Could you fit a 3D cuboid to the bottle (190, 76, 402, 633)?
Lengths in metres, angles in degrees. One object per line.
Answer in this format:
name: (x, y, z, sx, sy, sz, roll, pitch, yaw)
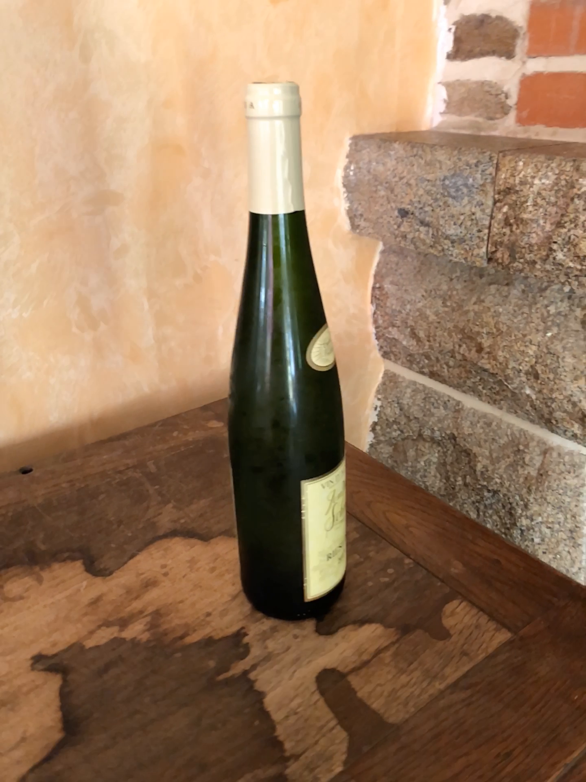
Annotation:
bottle: (0.005, -0.013, 0.391, 0.080, 0.318, 0.081, 0, 25, 0)
